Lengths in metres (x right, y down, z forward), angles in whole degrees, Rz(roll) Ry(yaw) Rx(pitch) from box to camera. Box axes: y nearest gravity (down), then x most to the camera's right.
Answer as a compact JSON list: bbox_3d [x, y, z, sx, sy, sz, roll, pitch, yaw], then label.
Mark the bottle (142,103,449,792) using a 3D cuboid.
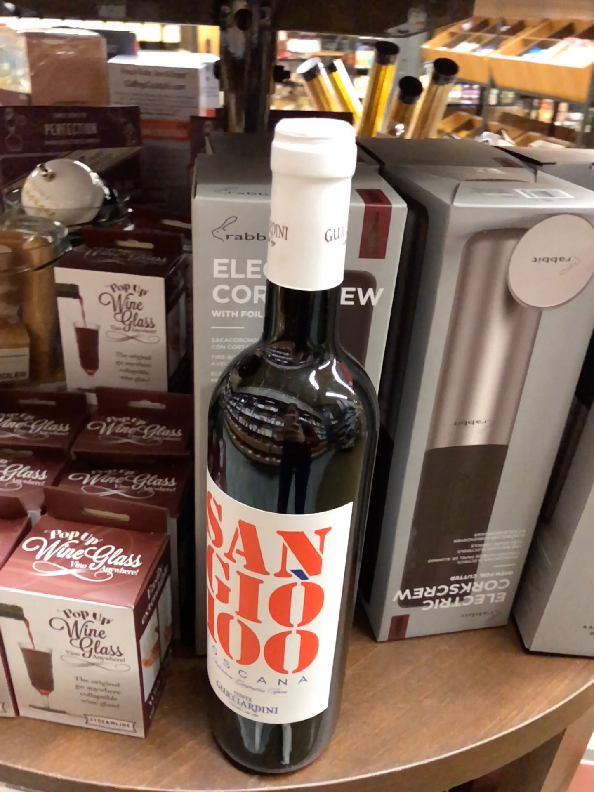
[{"bbox_3d":[-0.001,0.045,0.292,0.083,0.309,0.080,2,29,-1],"label":"bottle"}]
